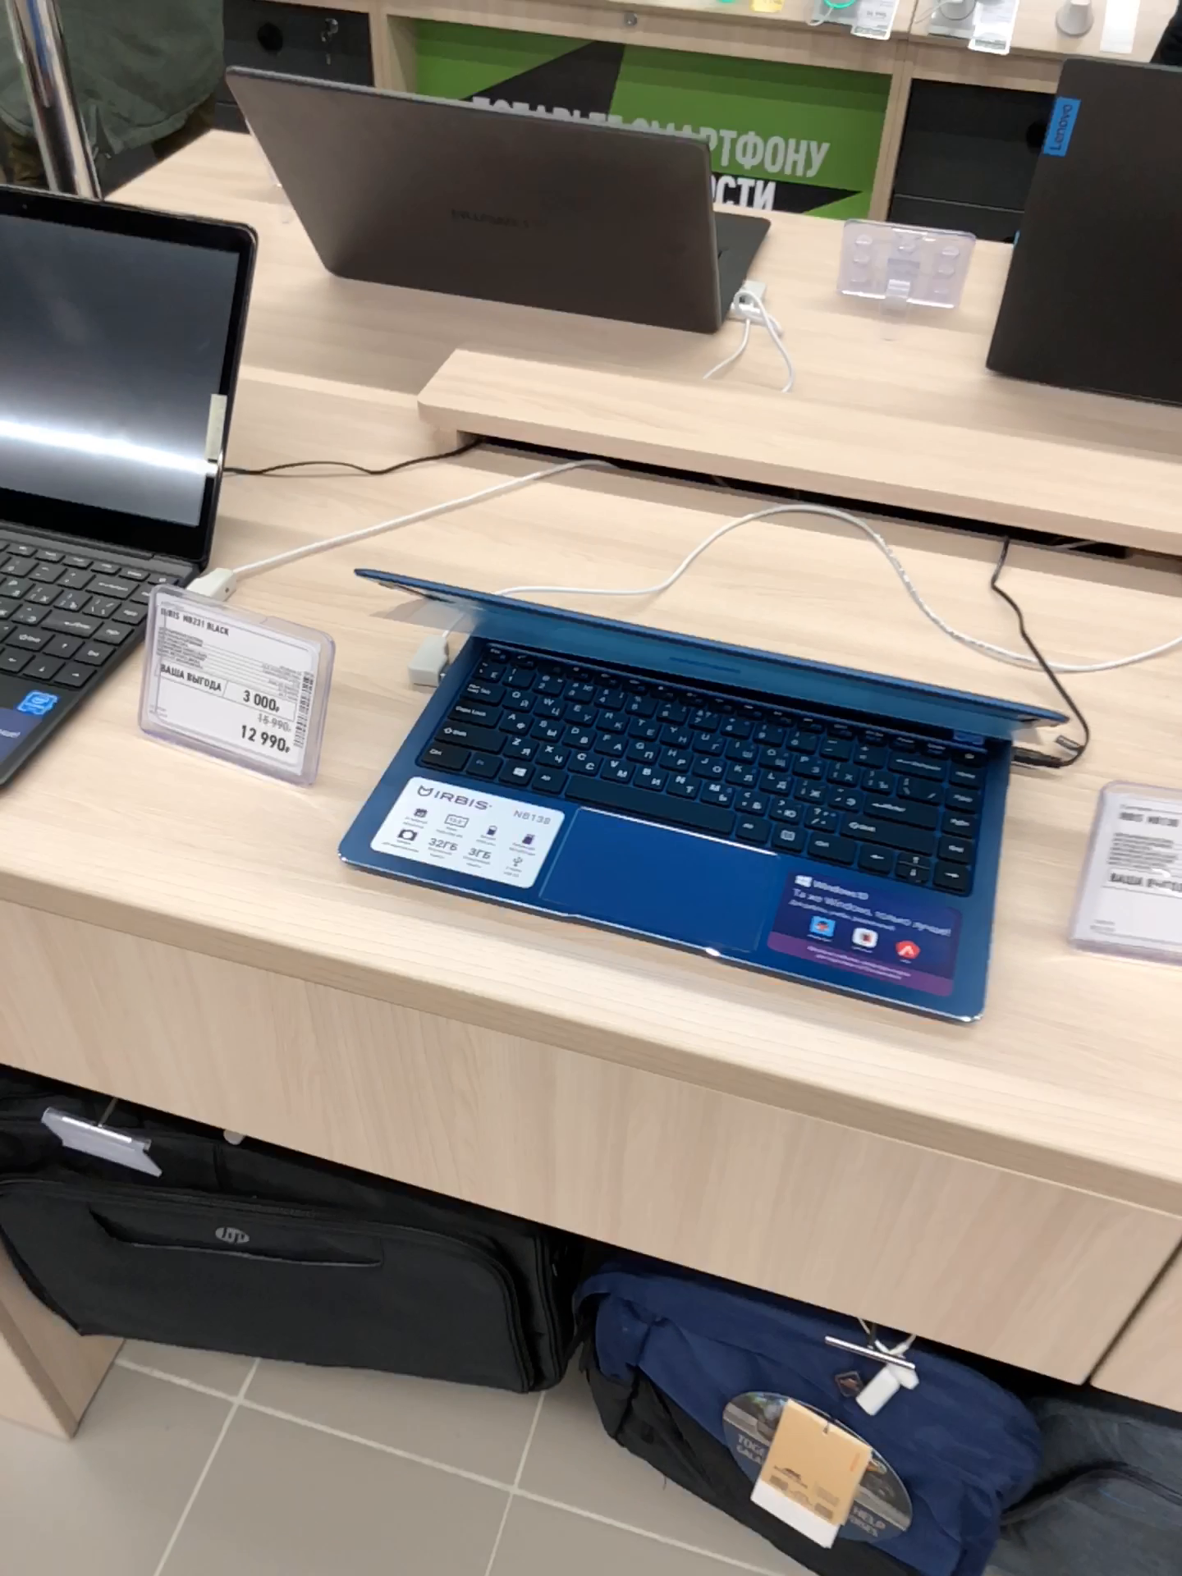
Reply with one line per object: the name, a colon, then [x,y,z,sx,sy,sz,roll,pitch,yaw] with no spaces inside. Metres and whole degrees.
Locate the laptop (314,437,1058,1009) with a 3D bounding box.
laptop: [0.052,-0.044,0.647,0.308,0.124,0.190,14,47,12]

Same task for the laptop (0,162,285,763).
laptop: [-0.408,-0.209,0.760,0.293,0.165,0.324,14,45,12]
